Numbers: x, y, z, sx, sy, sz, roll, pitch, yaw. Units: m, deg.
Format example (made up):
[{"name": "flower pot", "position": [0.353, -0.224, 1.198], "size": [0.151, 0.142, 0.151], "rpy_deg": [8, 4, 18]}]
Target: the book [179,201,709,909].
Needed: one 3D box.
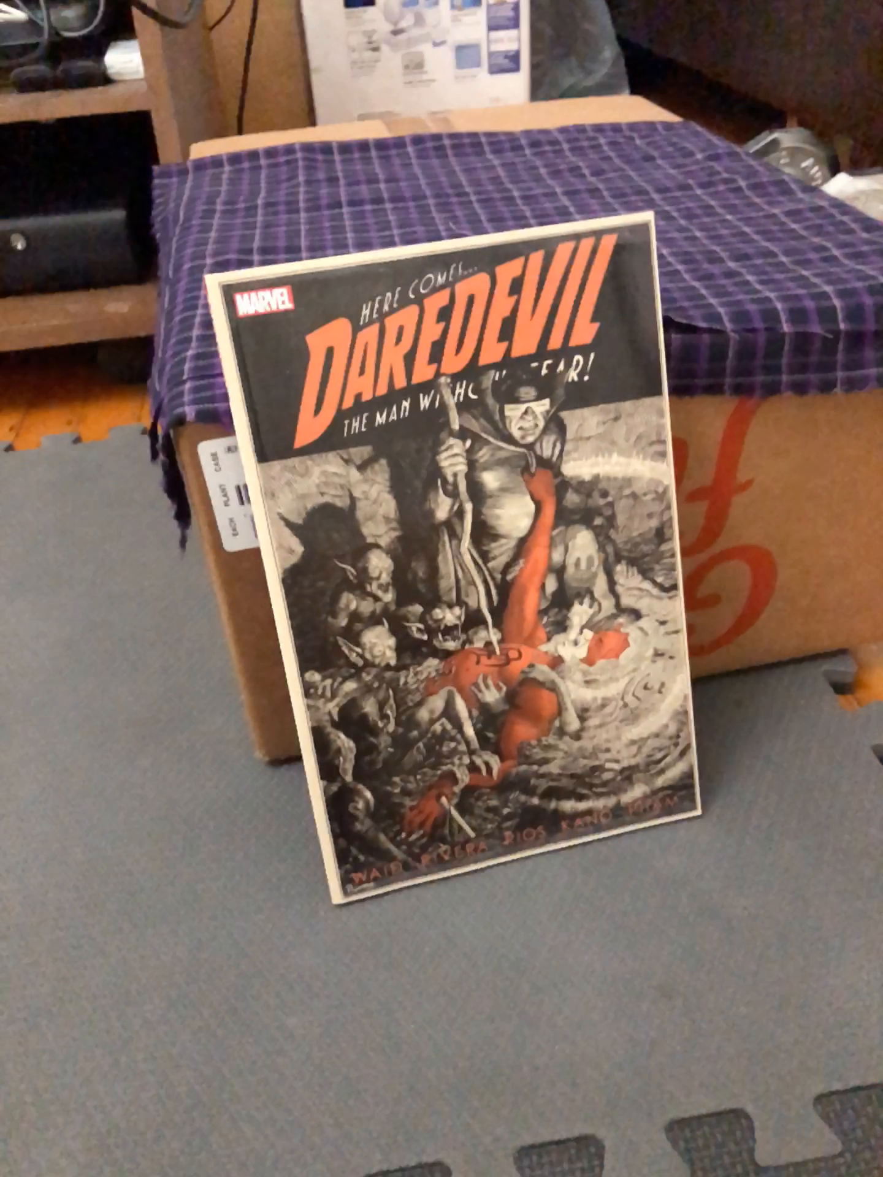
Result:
[{"name": "book", "position": [0.011, -0.008, 0.355], "size": [0.160, 0.229, 0.020], "rpy_deg": [-11, 16, -9]}]
